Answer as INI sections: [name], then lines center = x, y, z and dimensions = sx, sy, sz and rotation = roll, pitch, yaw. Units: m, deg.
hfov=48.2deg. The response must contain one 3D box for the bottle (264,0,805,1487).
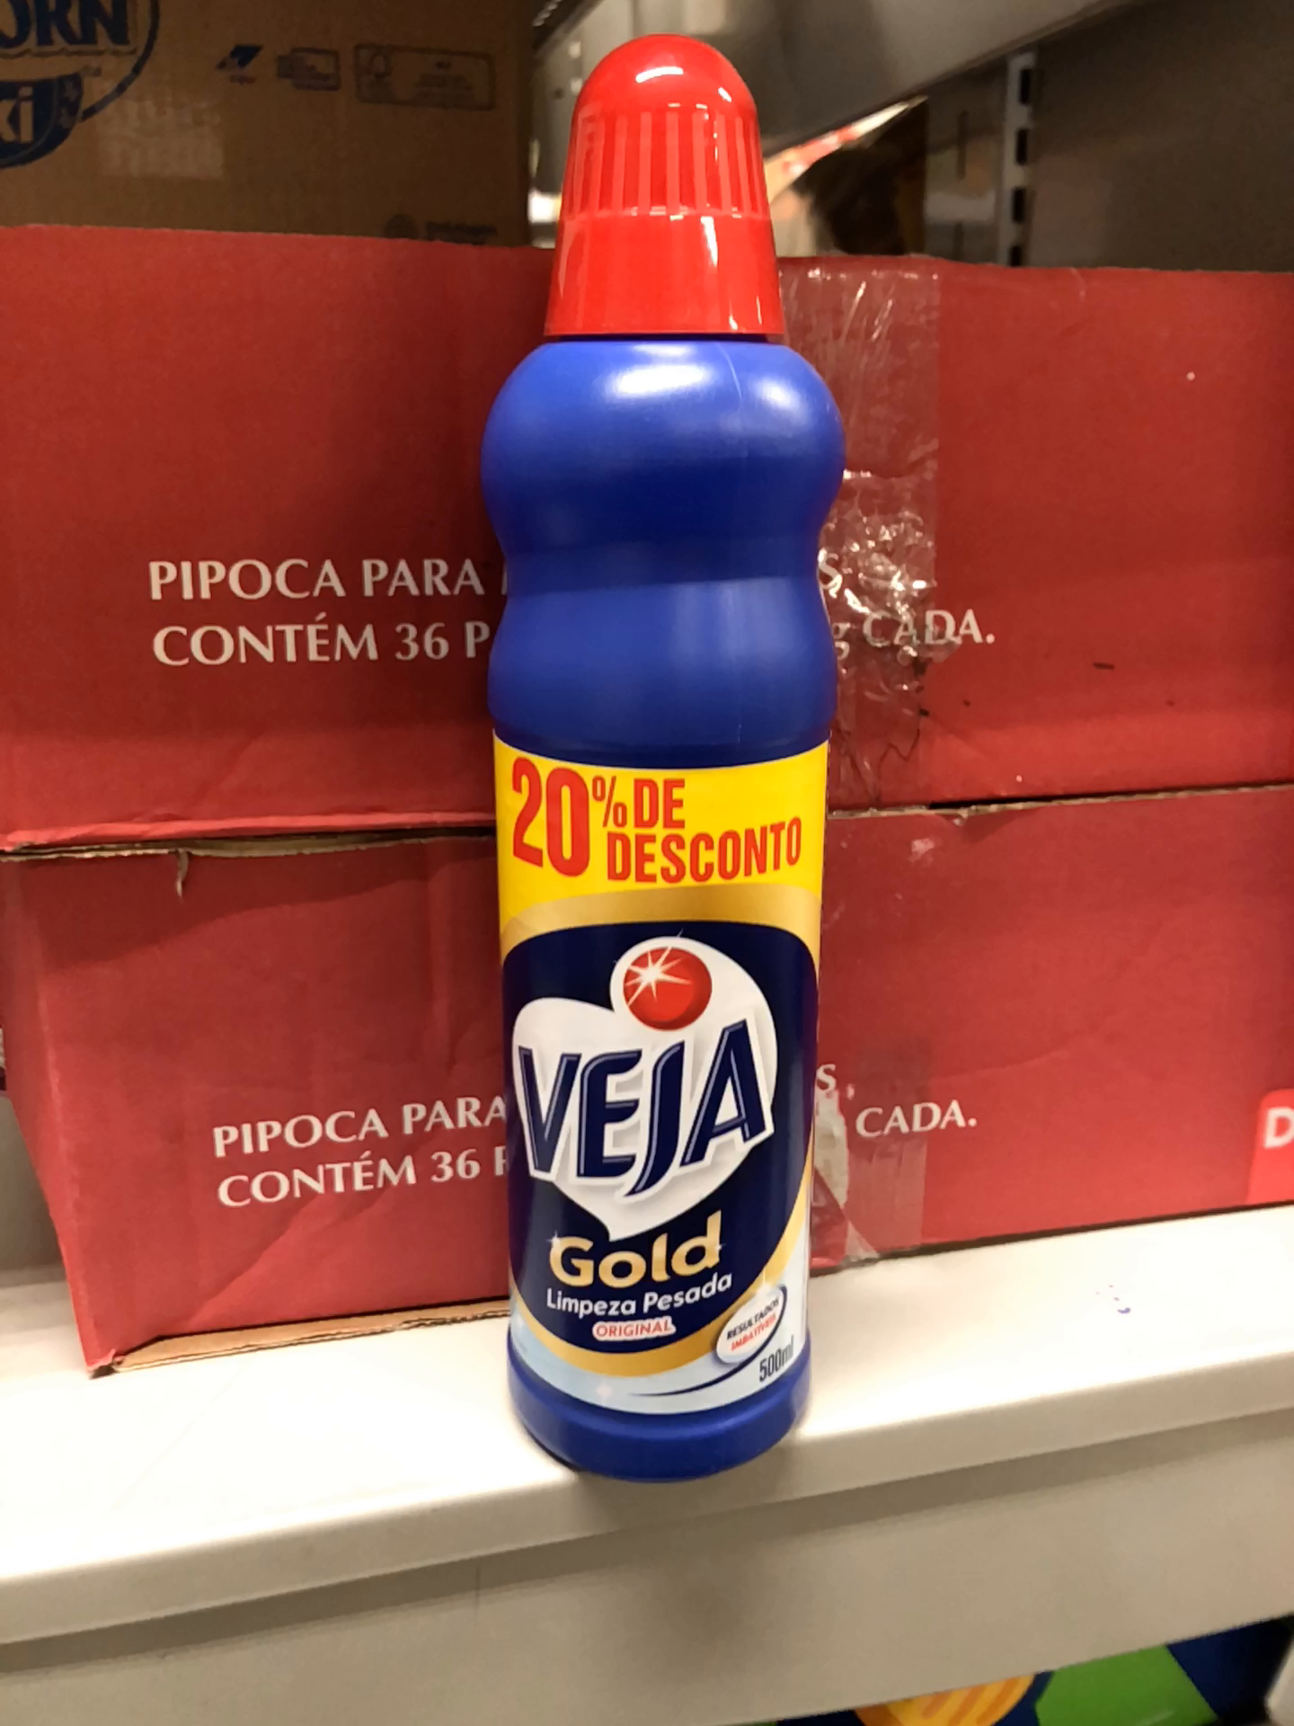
[bottle]
center = -0.008, -0.015, 0.262
dimensions = 0.070, 0.249, 0.070
rotation = -2, 18, 1
